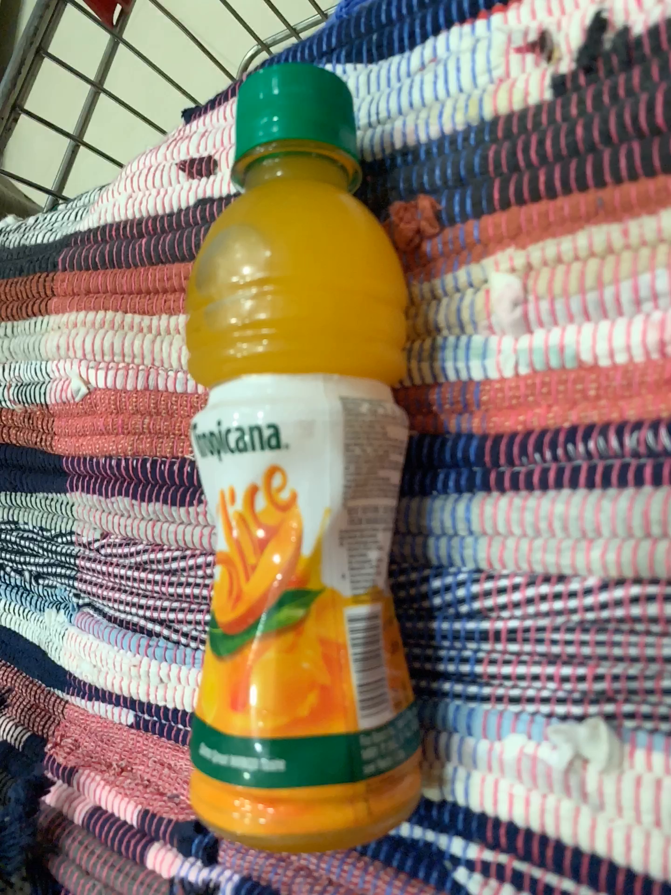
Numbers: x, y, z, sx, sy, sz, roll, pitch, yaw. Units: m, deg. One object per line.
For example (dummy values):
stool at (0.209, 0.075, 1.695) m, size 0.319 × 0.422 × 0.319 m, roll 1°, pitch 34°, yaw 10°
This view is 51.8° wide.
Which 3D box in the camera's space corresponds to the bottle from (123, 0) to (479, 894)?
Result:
bottle at (-0.005, -0.012, 0.170) m, size 0.060 × 0.050 × 0.190 m, roll -3°, pitch 81°, yaw 36°
